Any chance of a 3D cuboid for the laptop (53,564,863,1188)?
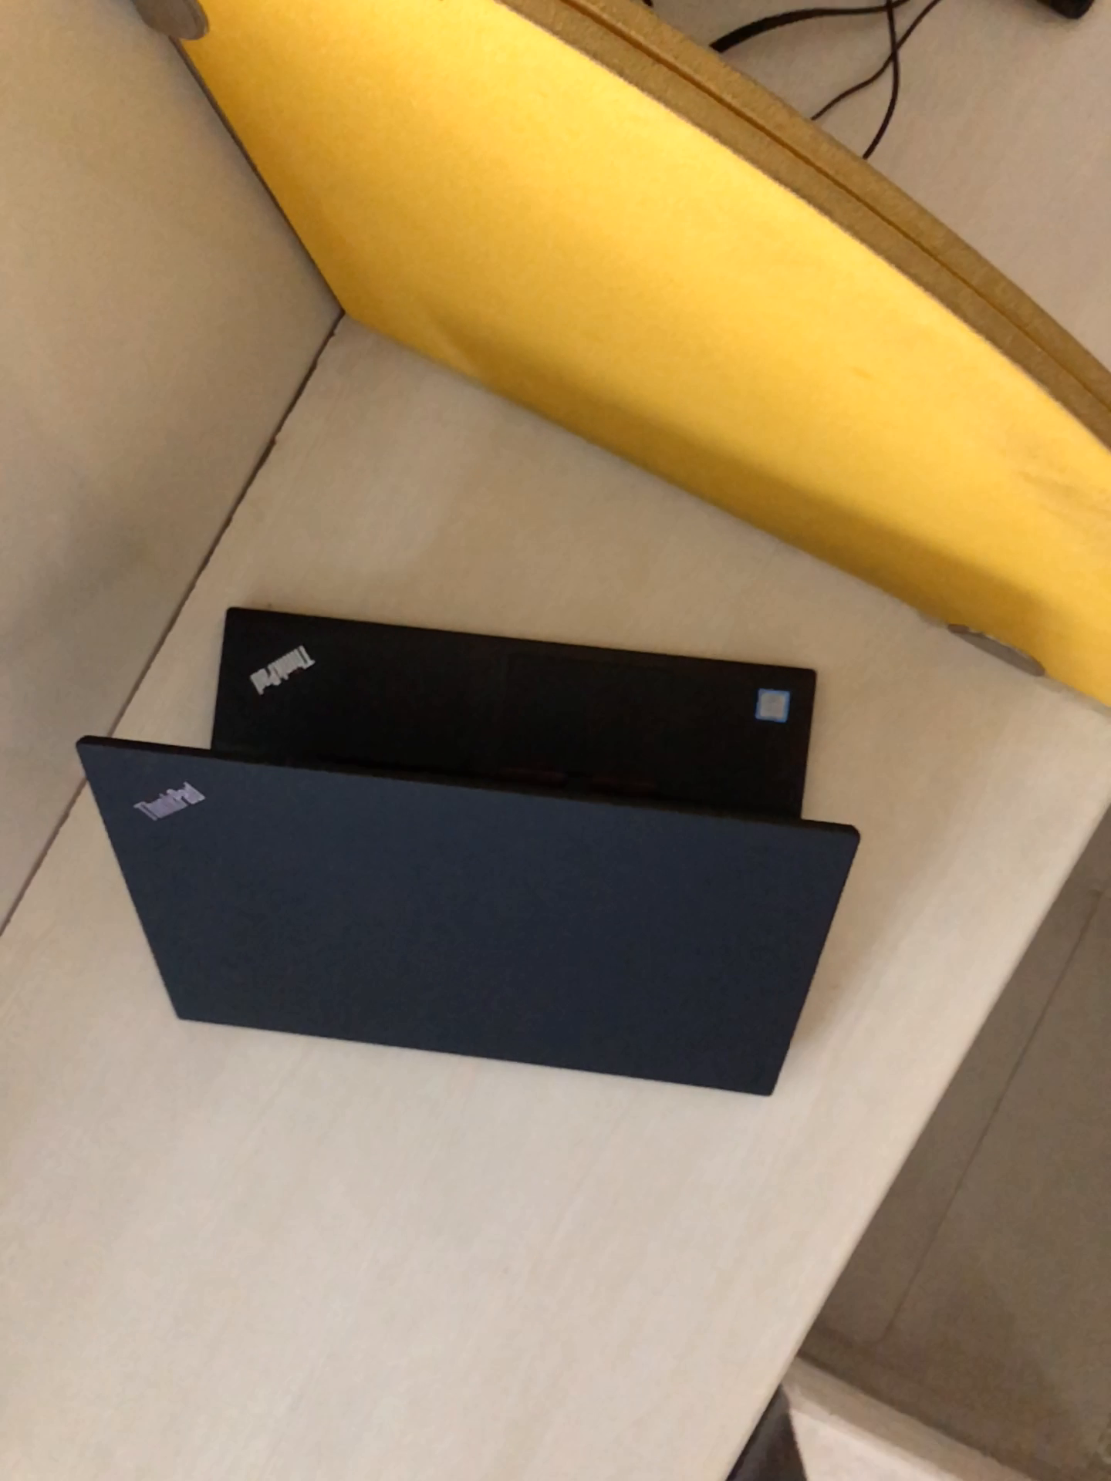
[{"bbox_3d":[-0.039,0.056,0.641,0.349,0.167,0.240,6,85,4],"label":"laptop"}]
